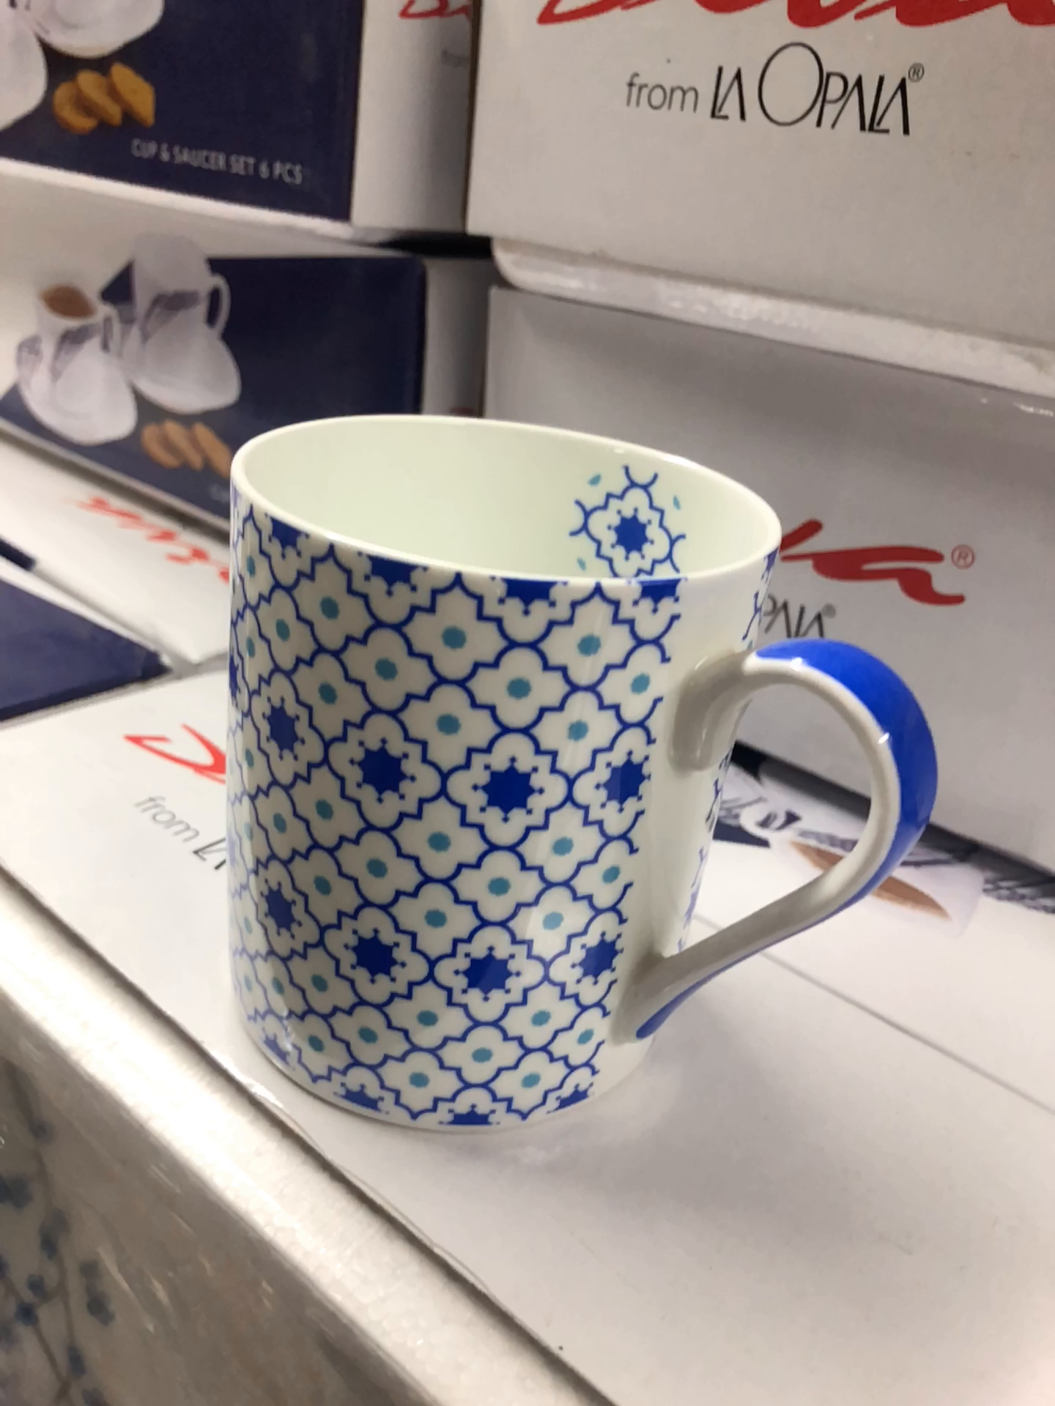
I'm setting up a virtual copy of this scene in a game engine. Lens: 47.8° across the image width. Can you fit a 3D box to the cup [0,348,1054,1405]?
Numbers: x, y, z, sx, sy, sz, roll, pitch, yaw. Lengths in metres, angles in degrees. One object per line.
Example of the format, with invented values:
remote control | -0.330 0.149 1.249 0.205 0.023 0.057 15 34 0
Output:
cup | -0.005 0.009 0.151 0.100 0.080 0.070 24 32 31
